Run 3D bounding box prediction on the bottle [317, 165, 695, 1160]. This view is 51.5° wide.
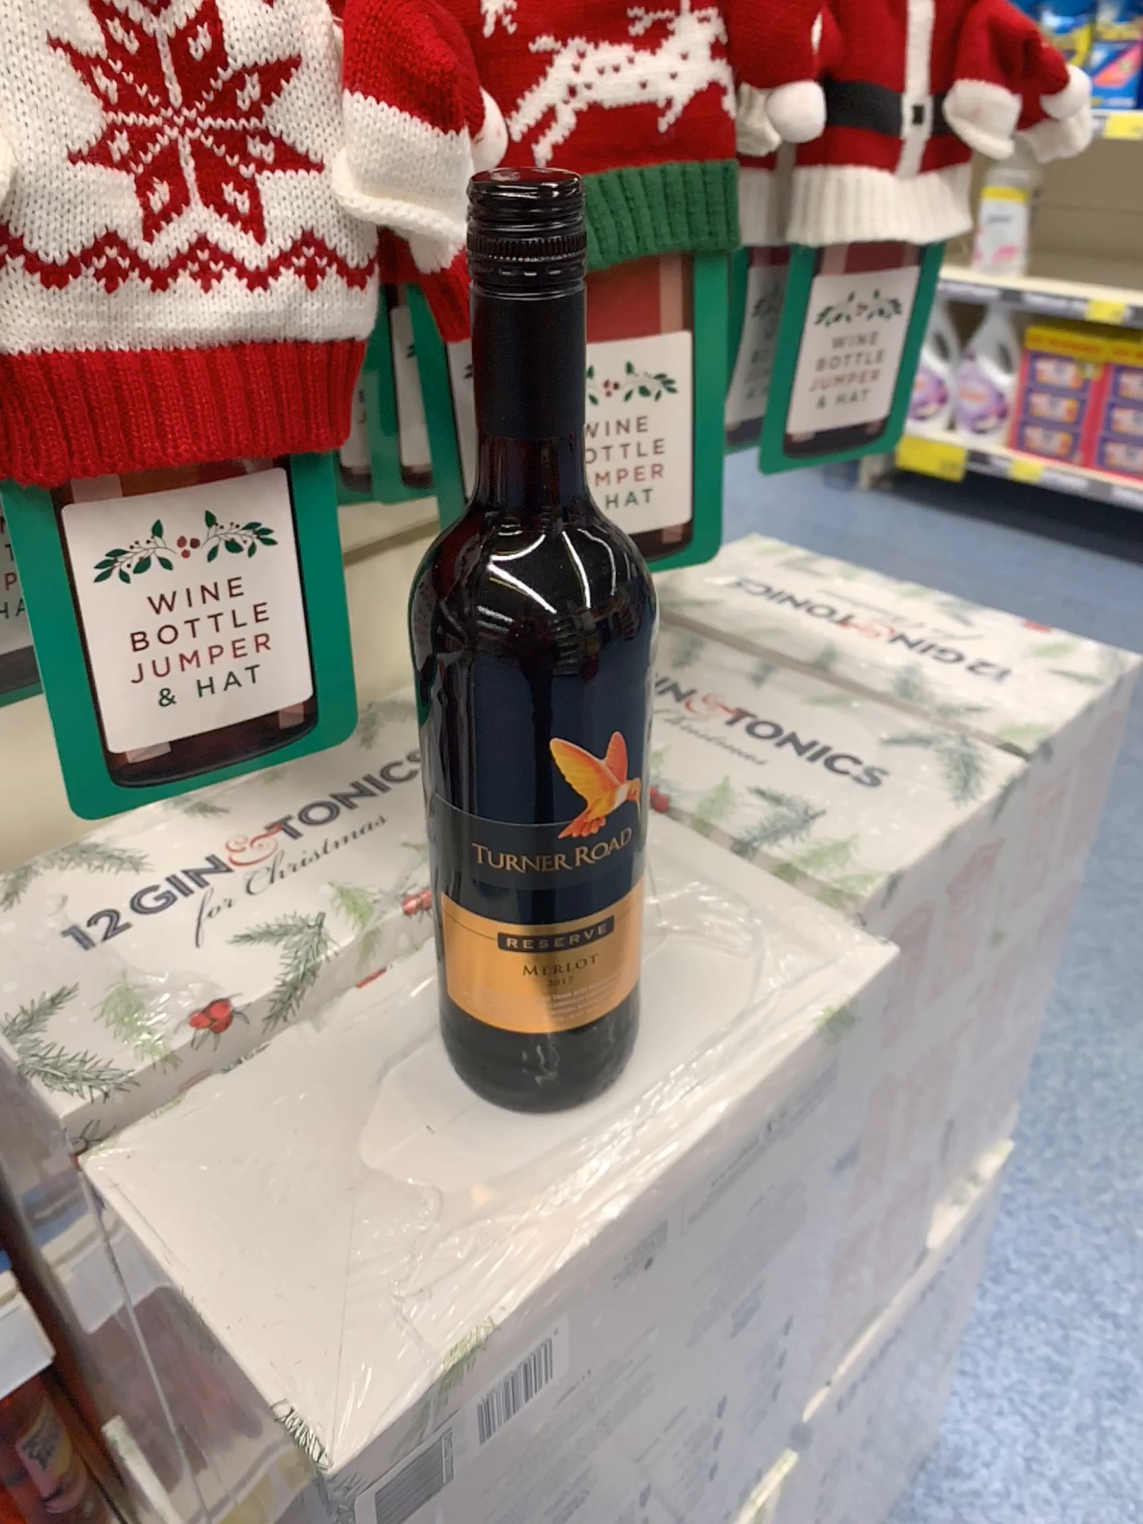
[{"bbox_3d":[-0.015,-0.014,0.358,0.078,0.288,0.075,-1,32,1],"label":"bottle"}]
